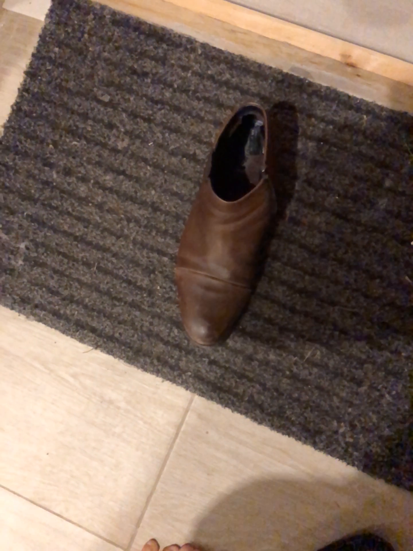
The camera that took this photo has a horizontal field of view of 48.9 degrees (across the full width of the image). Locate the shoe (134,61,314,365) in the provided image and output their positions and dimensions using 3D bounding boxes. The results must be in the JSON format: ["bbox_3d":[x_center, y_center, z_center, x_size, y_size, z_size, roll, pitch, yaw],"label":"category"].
[{"bbox_3d":[0.025,-0.066,0.540,0.110,0.130,0.300,16,91,7],"label":"shoe"}]
